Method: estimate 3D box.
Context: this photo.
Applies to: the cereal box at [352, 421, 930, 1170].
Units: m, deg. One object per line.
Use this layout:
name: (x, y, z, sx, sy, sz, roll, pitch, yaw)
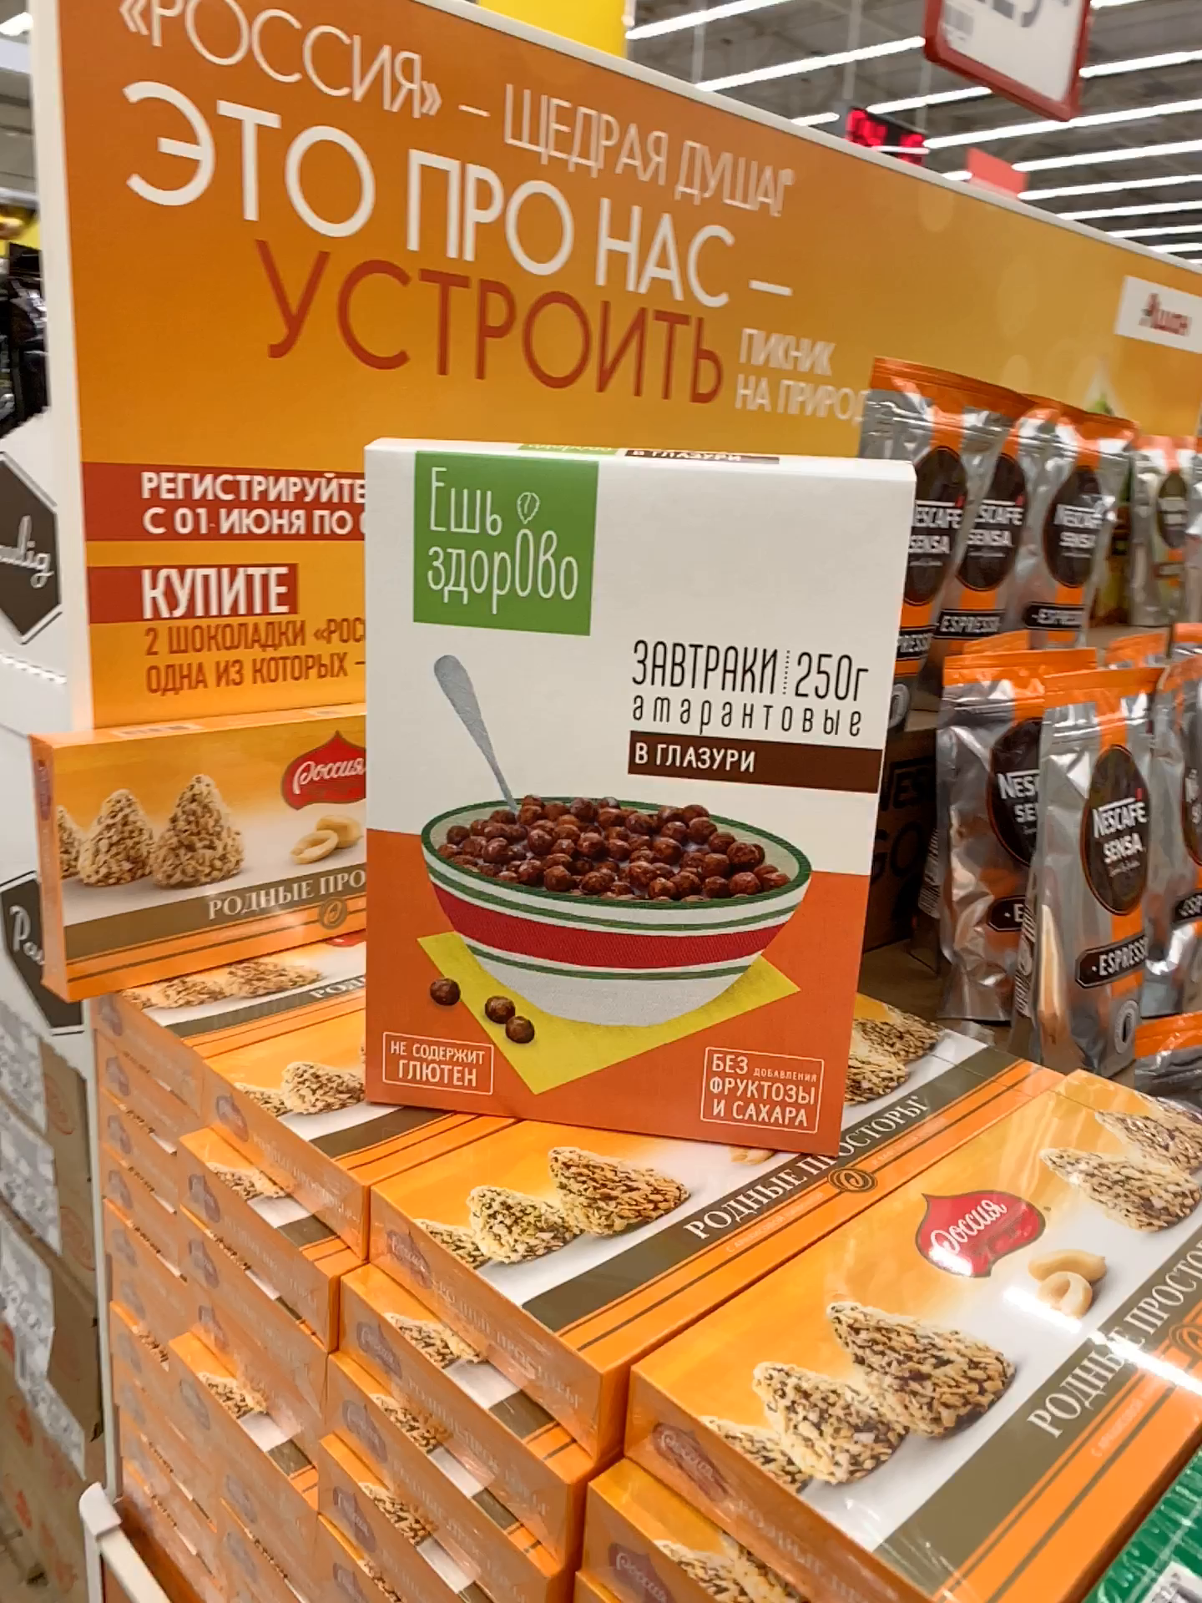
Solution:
cereal box: (0.008, -0.003, 0.471, 0.190, 0.259, 0.060, 5, 15, 6)
